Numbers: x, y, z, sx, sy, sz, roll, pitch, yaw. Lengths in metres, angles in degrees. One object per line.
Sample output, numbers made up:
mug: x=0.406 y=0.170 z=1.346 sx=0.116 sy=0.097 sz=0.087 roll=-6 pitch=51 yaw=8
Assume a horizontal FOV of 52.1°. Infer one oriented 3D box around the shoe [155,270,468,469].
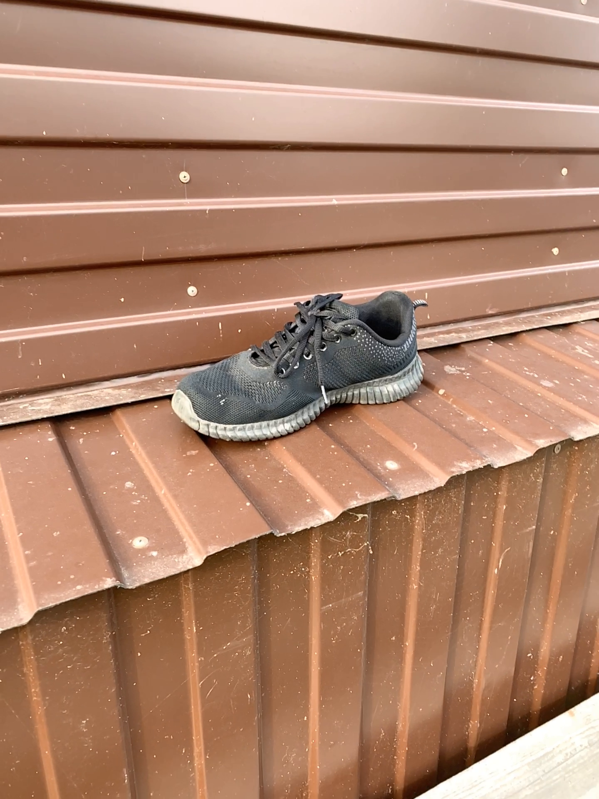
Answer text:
shoe: x=0.016 y=-0.047 z=0.639 sx=0.301 sy=0.119 sz=0.121 roll=-13 pitch=33 yaw=-32
